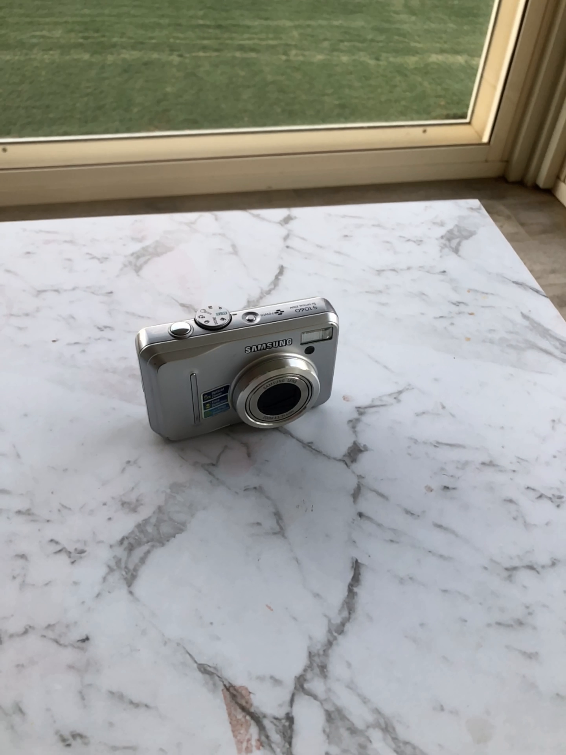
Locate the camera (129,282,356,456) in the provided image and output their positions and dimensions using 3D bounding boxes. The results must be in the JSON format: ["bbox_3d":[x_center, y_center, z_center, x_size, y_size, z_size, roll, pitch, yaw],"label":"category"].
[{"bbox_3d":[-0.019,-0.005,0.311,0.099,0.061,0.034,-12,46,-14],"label":"camera"}]
